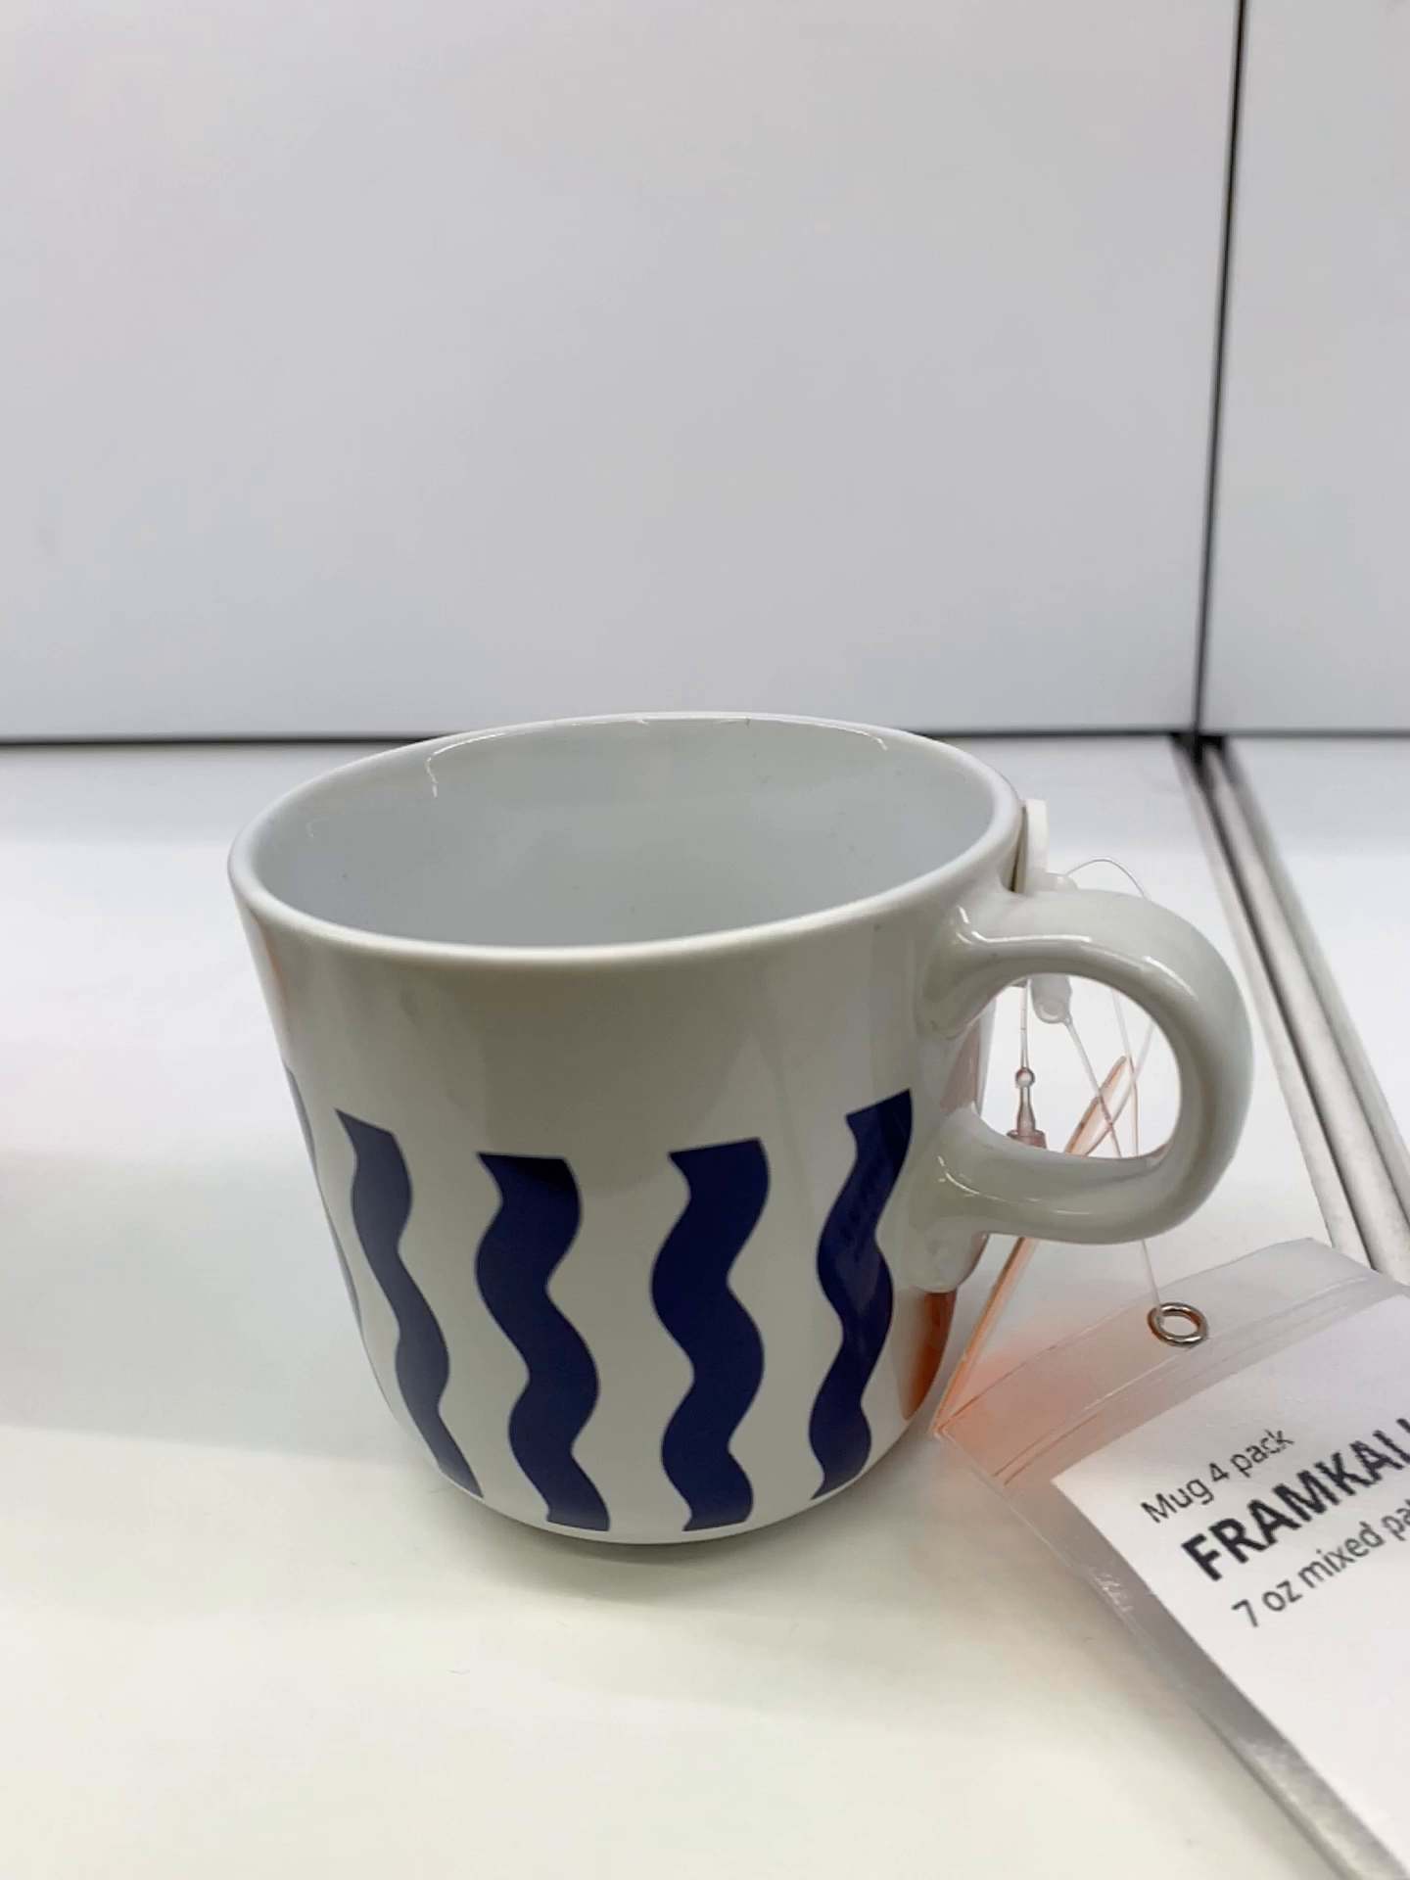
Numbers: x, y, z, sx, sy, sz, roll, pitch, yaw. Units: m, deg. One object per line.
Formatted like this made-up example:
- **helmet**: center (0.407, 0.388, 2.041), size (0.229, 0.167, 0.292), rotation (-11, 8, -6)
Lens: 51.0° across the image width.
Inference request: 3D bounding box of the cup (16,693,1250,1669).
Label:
- **cup**: center (0.000, 0.017, 0.165), size (0.101, 0.071, 0.076), rotation (1, 22, 12)
